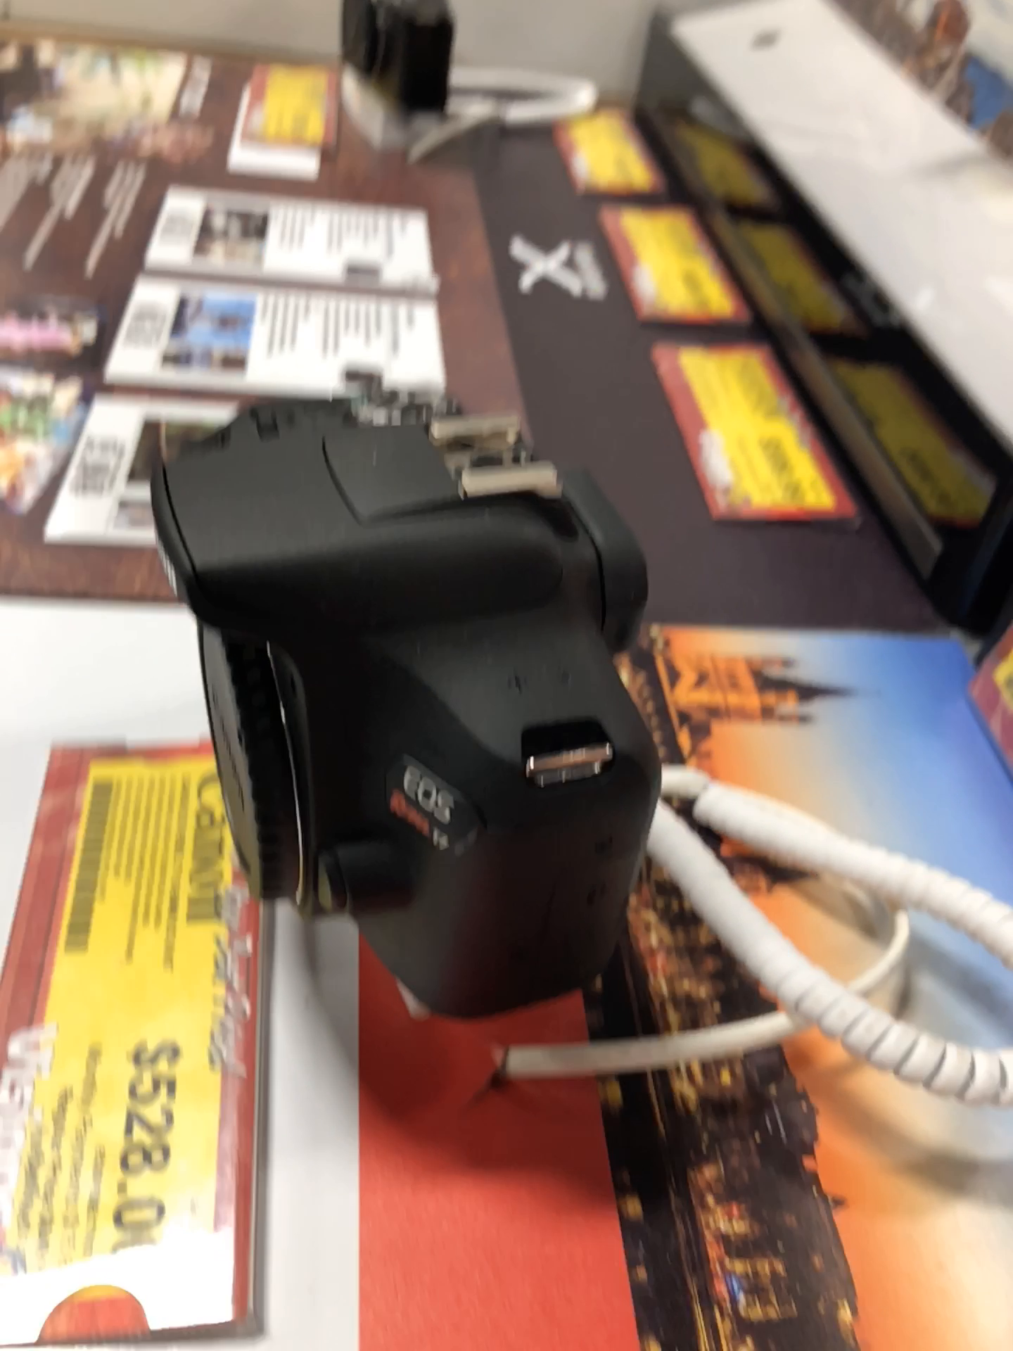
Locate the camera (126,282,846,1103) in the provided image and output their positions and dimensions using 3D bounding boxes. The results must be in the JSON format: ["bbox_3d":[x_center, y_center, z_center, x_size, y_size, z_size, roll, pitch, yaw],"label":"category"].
[{"bbox_3d":[-0.019,-0.008,0.228,0.090,0.089,0.131,-8,44,-19],"label":"camera"}]
